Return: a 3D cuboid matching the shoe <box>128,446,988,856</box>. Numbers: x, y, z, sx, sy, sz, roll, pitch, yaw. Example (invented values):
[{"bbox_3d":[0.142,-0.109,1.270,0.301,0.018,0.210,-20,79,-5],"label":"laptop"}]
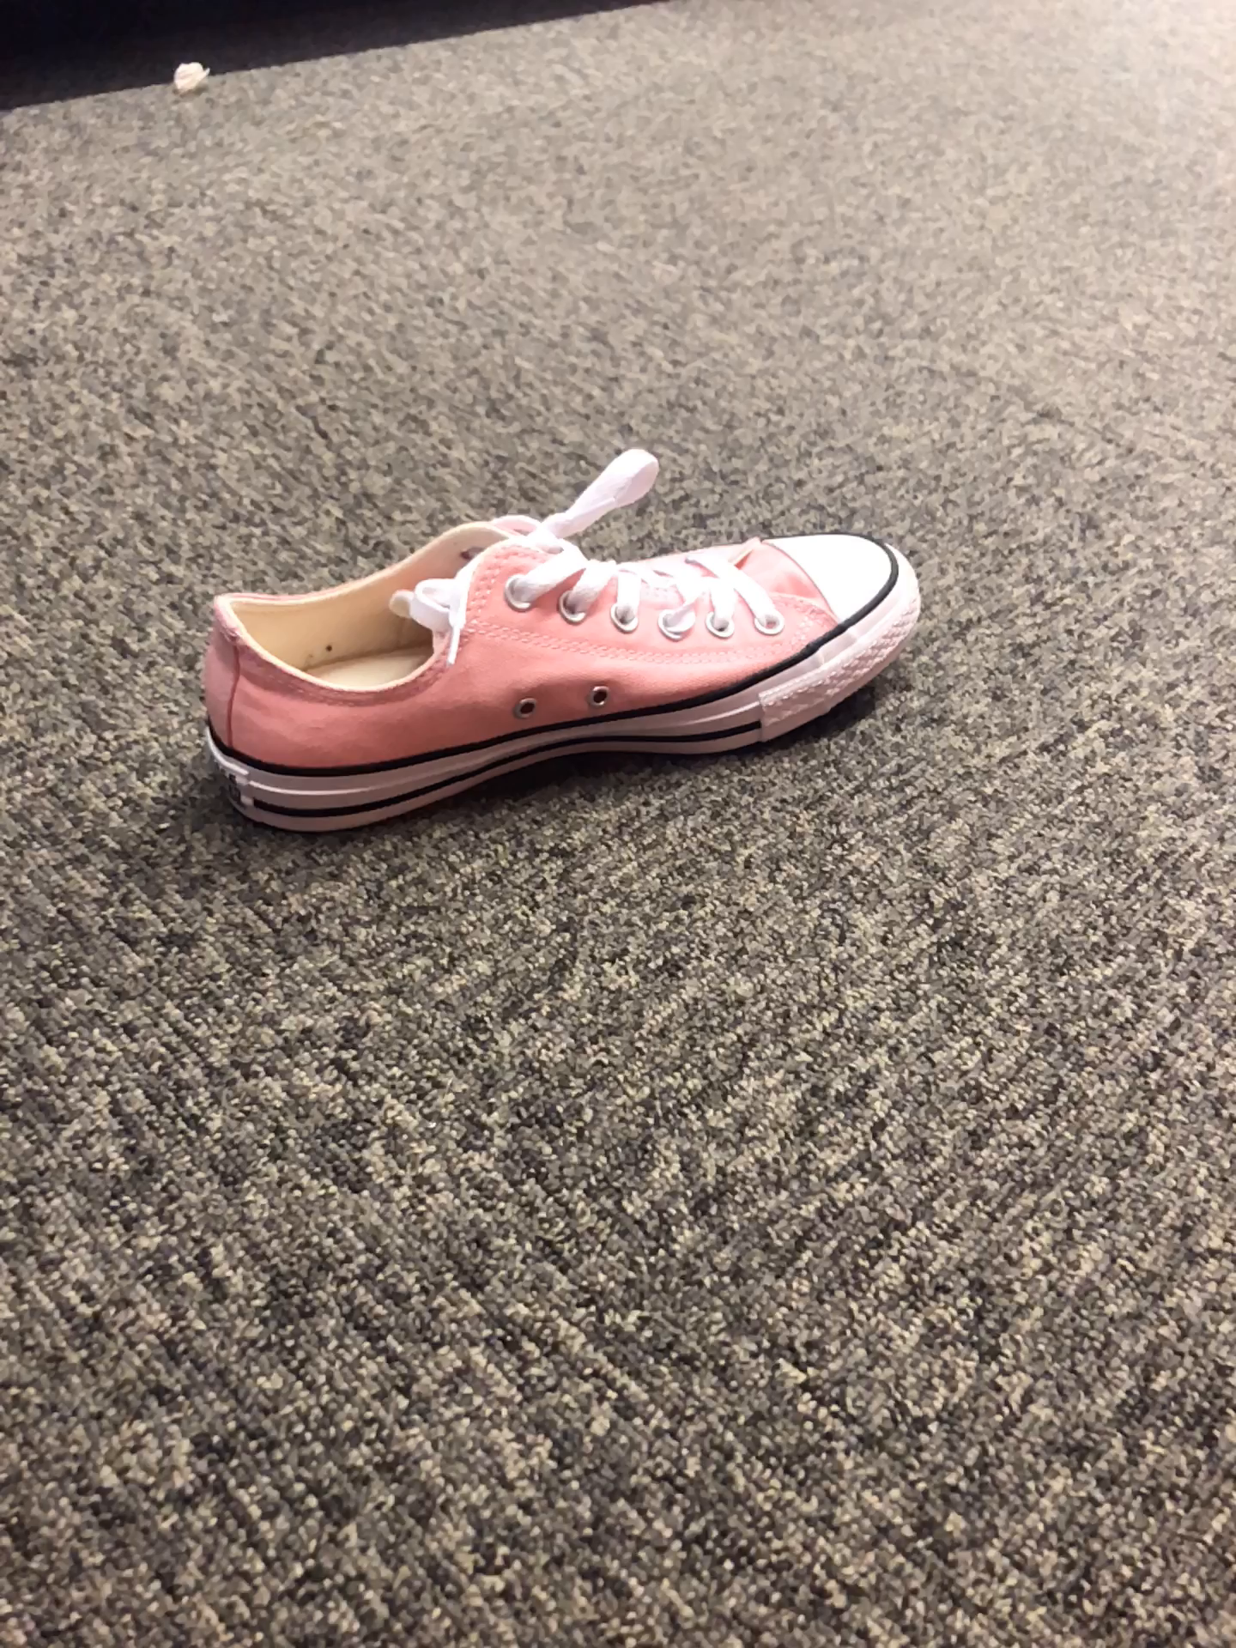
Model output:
[{"bbox_3d":[-0.016,-0.073,0.487,0.281,0.060,0.100,-13,45,-24],"label":"shoe"}]
